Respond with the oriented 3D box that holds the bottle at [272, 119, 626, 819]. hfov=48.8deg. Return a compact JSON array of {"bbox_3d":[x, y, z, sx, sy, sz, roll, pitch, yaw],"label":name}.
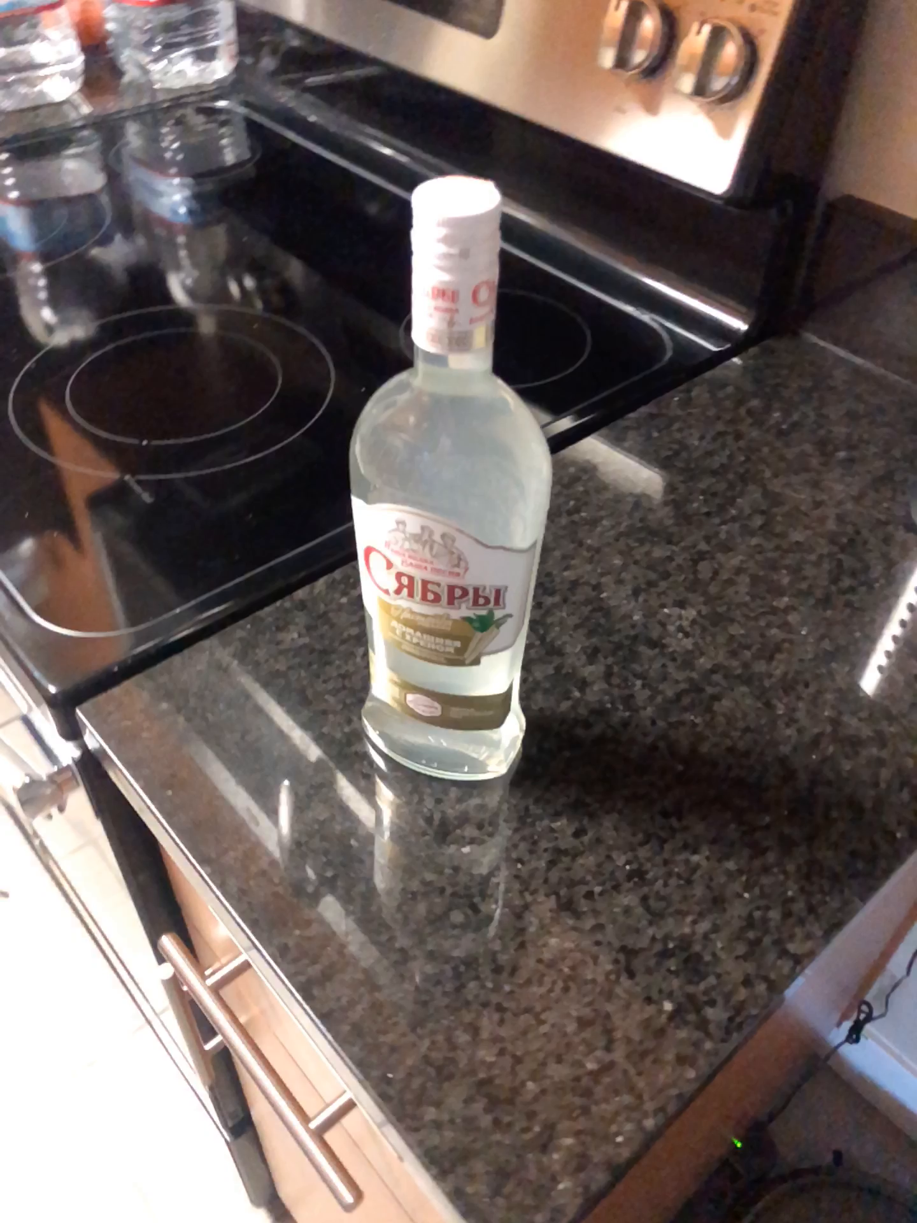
[{"bbox_3d":[-0.005,-0.036,0.402,0.090,0.269,0.060,22,48,20],"label":"bottle"}]
